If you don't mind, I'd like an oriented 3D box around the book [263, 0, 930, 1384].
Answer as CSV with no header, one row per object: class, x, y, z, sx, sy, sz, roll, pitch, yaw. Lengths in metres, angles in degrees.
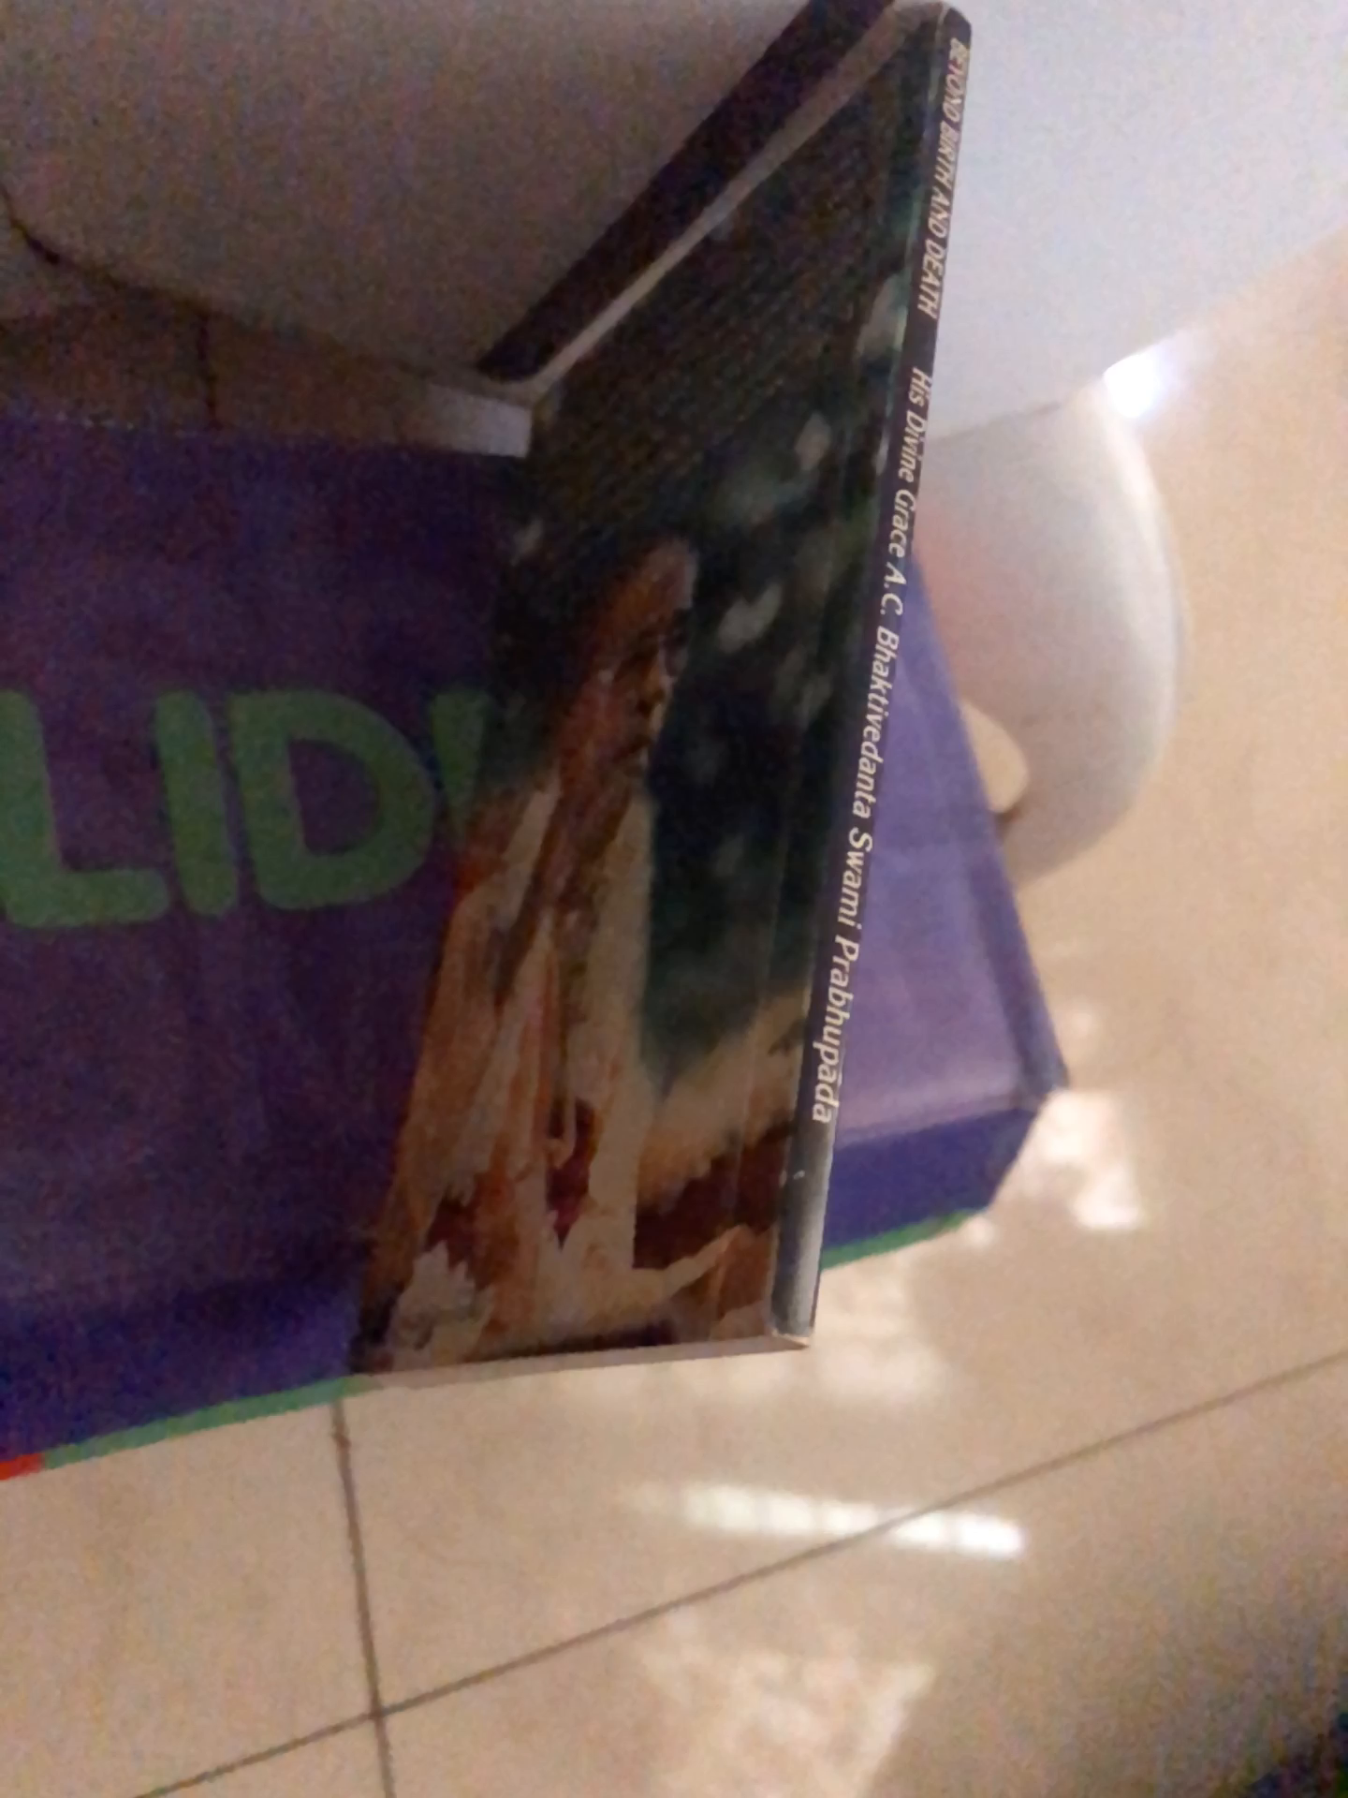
book,-0.012,-0.034,0.216,0.010,0.119,0.190,21,61,-27
